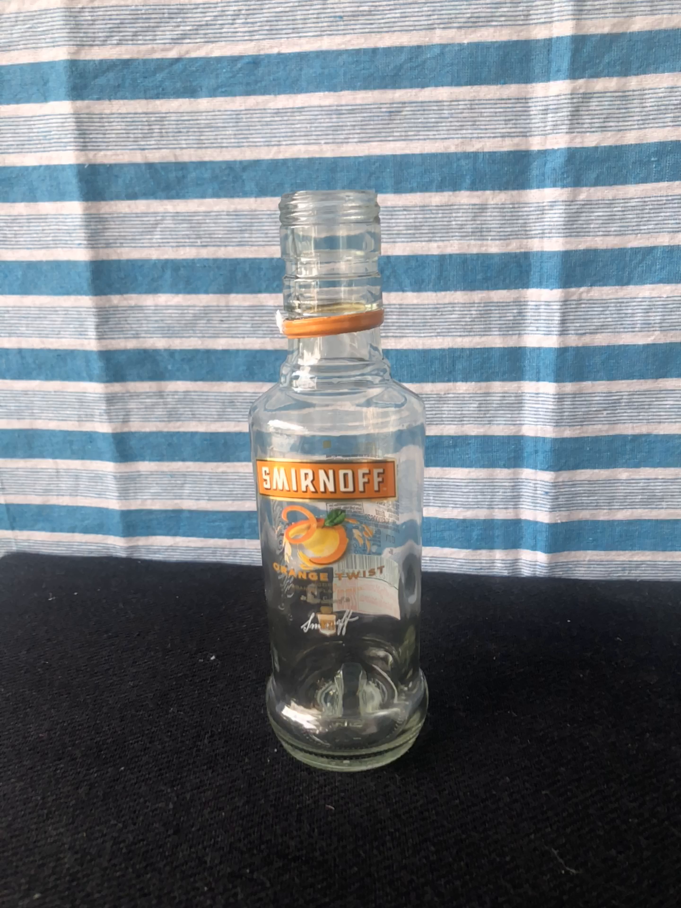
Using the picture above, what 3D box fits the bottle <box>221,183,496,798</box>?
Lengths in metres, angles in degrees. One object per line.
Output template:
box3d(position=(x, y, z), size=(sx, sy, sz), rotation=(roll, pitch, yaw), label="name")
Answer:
box3d(position=(0.007, 0.009, 0.227), size=(0.060, 0.169, 0.050), rotation=(7, 19, 19), label="bottle")
